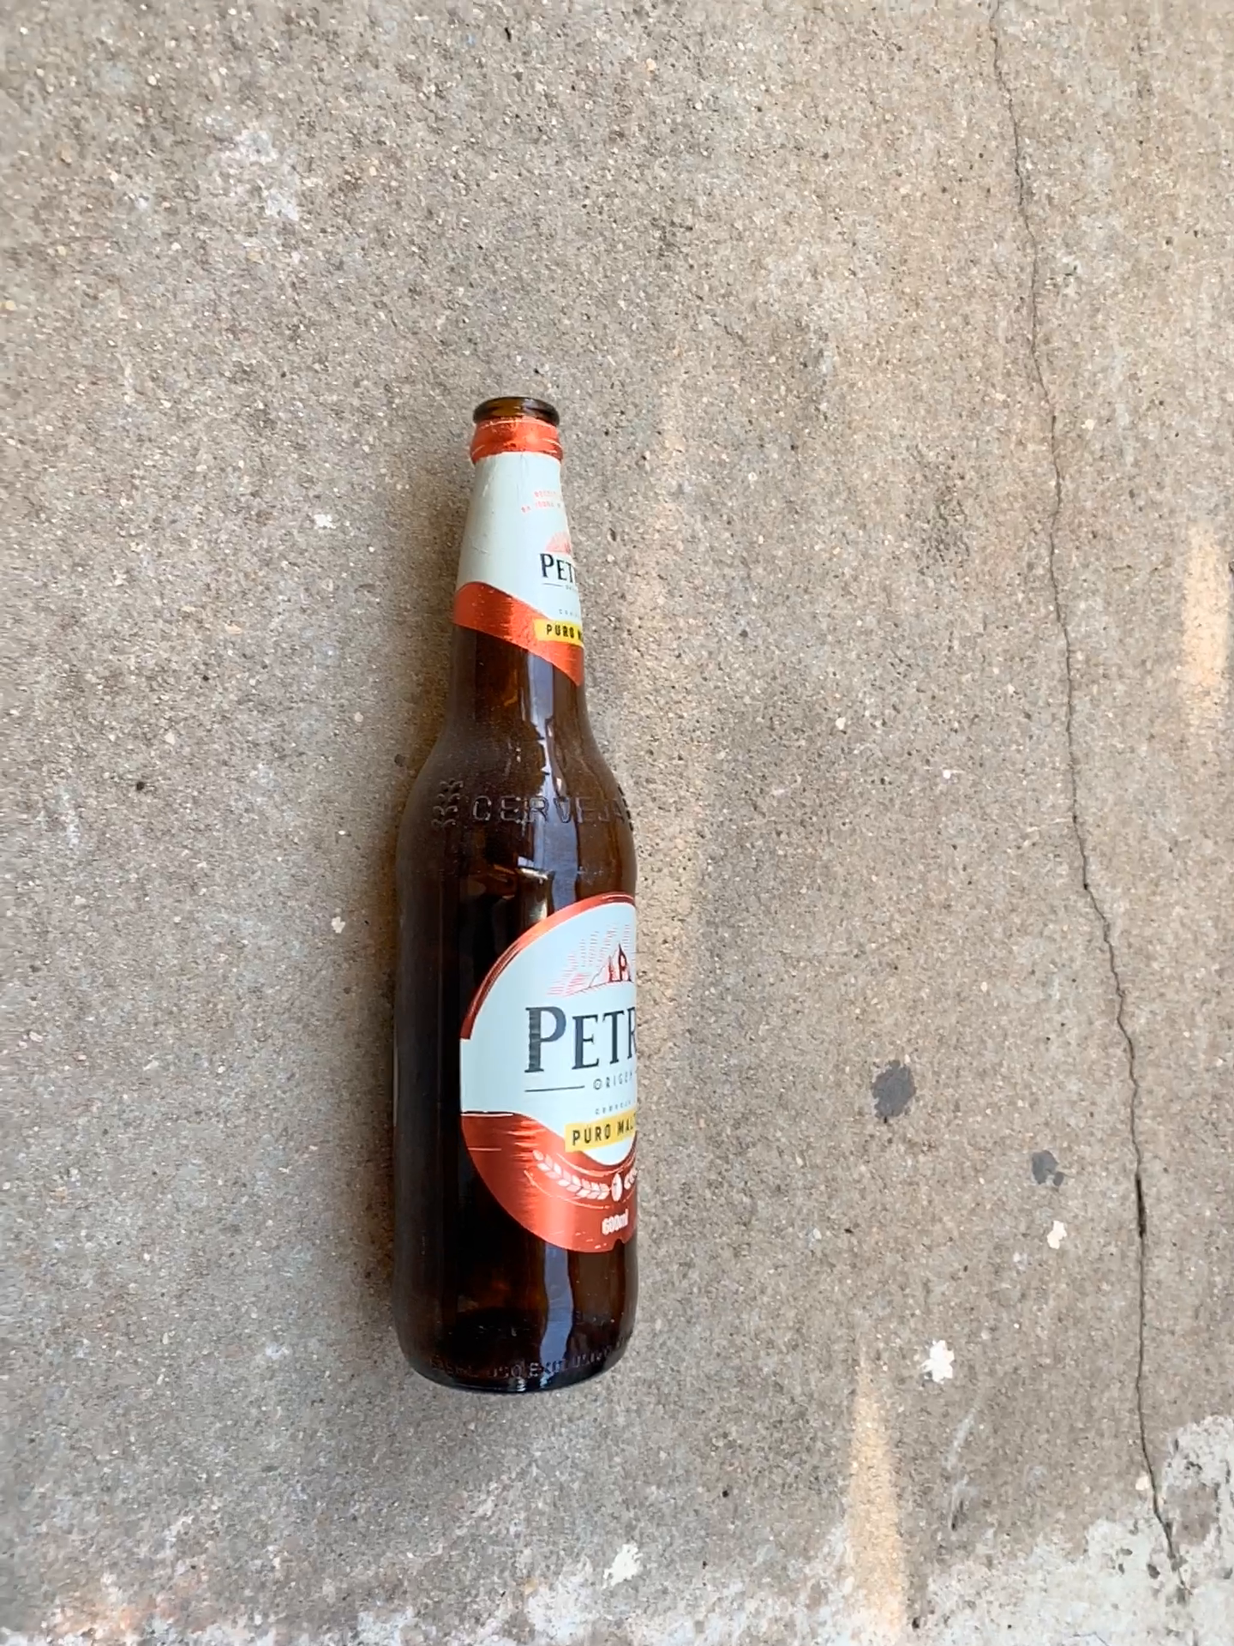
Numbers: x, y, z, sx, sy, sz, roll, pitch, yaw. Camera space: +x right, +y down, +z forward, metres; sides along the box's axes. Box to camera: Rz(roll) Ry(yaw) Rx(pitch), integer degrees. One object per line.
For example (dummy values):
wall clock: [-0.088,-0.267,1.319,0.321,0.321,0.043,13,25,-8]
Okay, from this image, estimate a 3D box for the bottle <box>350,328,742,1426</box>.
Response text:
bottle: [-0.019,0.013,0.364,0.080,0.070,0.270,8,78,-61]
